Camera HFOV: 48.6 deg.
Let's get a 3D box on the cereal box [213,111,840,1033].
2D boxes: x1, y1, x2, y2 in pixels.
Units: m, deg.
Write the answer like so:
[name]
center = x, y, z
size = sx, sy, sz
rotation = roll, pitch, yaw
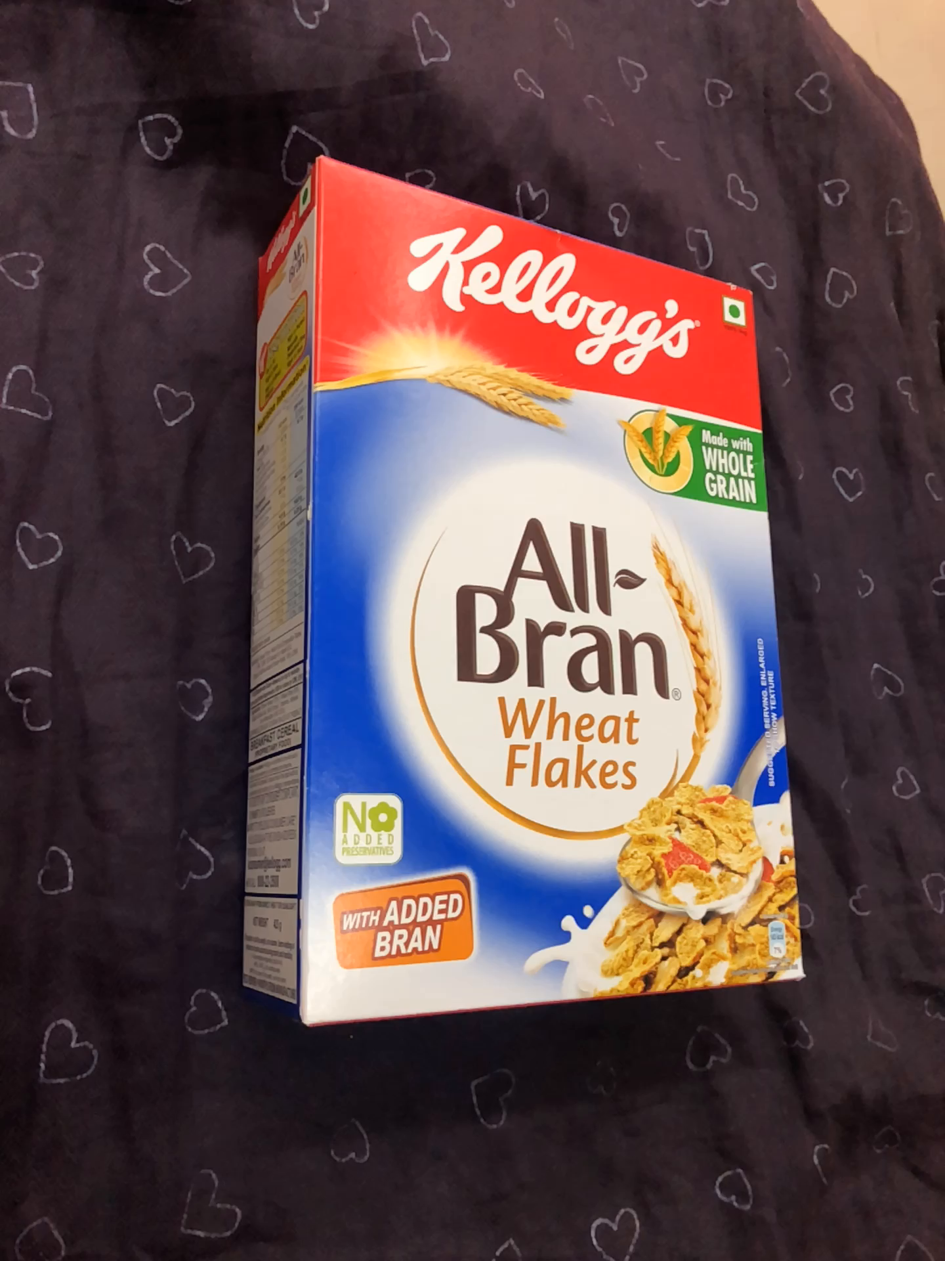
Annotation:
[cereal box]
center = 0.020, -0.013, 0.360
size = 0.190, 0.070, 0.260
rotation = 6, 76, -28
